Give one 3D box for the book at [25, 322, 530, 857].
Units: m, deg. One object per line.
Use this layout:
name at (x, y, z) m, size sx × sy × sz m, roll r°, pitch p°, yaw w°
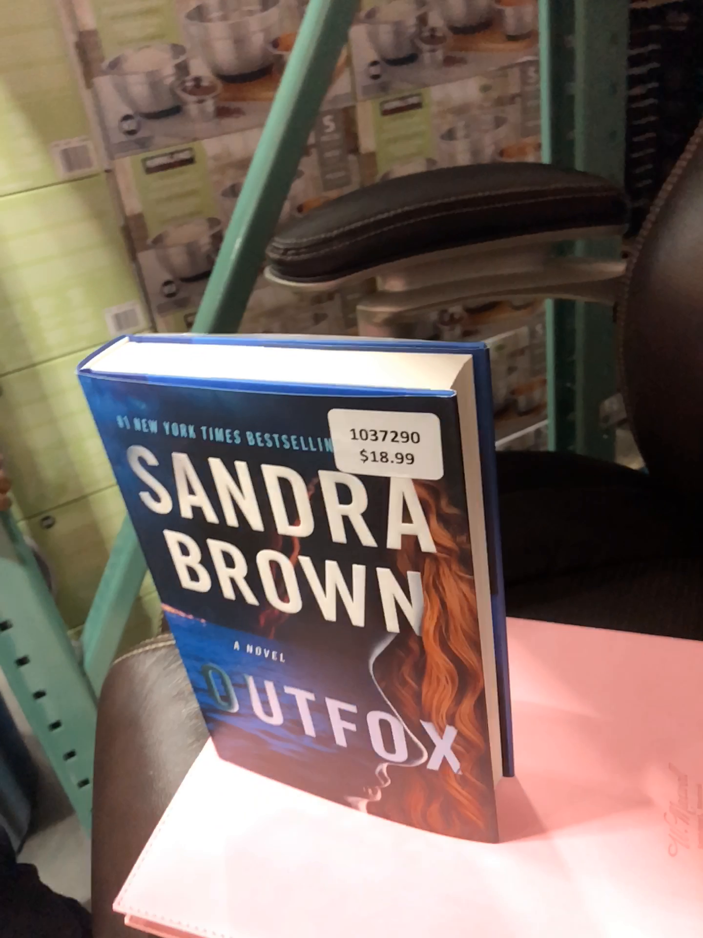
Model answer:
book at (-0.018, 0.055, 0.335) m, size 0.167 × 0.228 × 0.048 m, roll 6°, pitch 37°, yaw 25°
